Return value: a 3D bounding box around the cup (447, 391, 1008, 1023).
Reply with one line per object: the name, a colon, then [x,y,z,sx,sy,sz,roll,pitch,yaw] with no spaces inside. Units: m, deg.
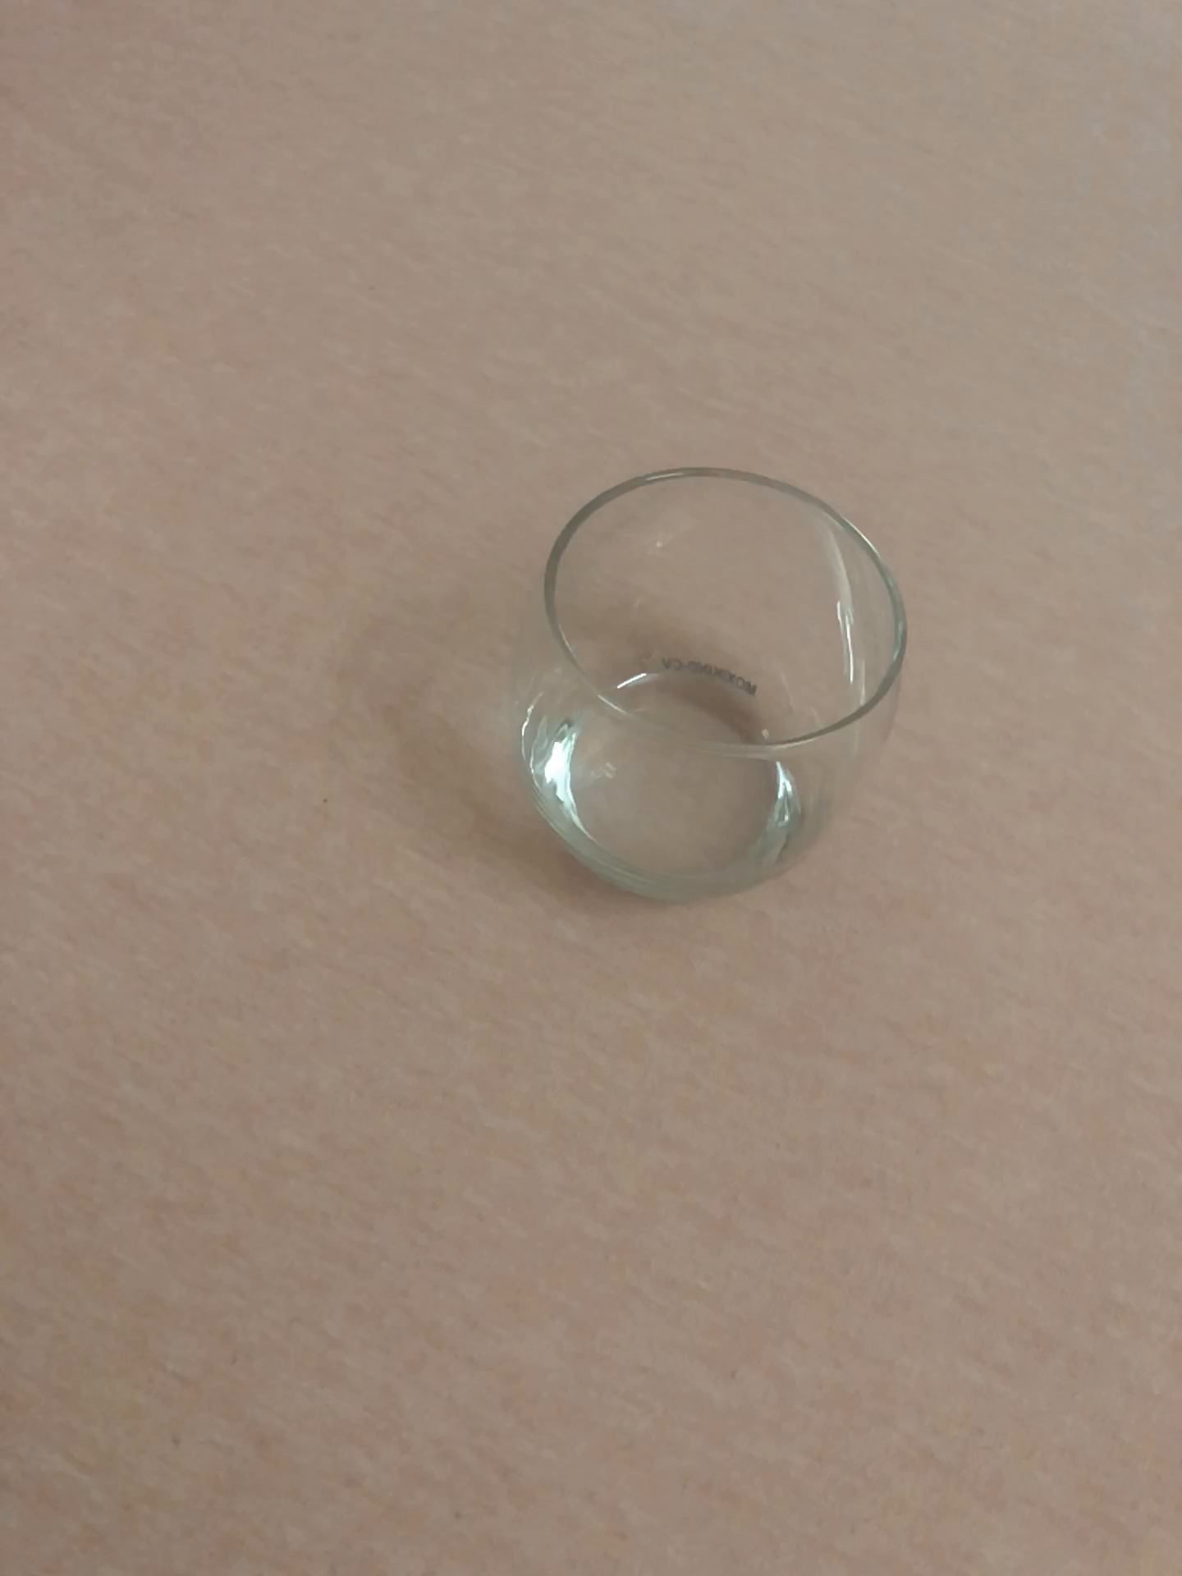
cup: [0.028,-0.019,0.338,0.090,0.100,0.090,4,57,-6]
